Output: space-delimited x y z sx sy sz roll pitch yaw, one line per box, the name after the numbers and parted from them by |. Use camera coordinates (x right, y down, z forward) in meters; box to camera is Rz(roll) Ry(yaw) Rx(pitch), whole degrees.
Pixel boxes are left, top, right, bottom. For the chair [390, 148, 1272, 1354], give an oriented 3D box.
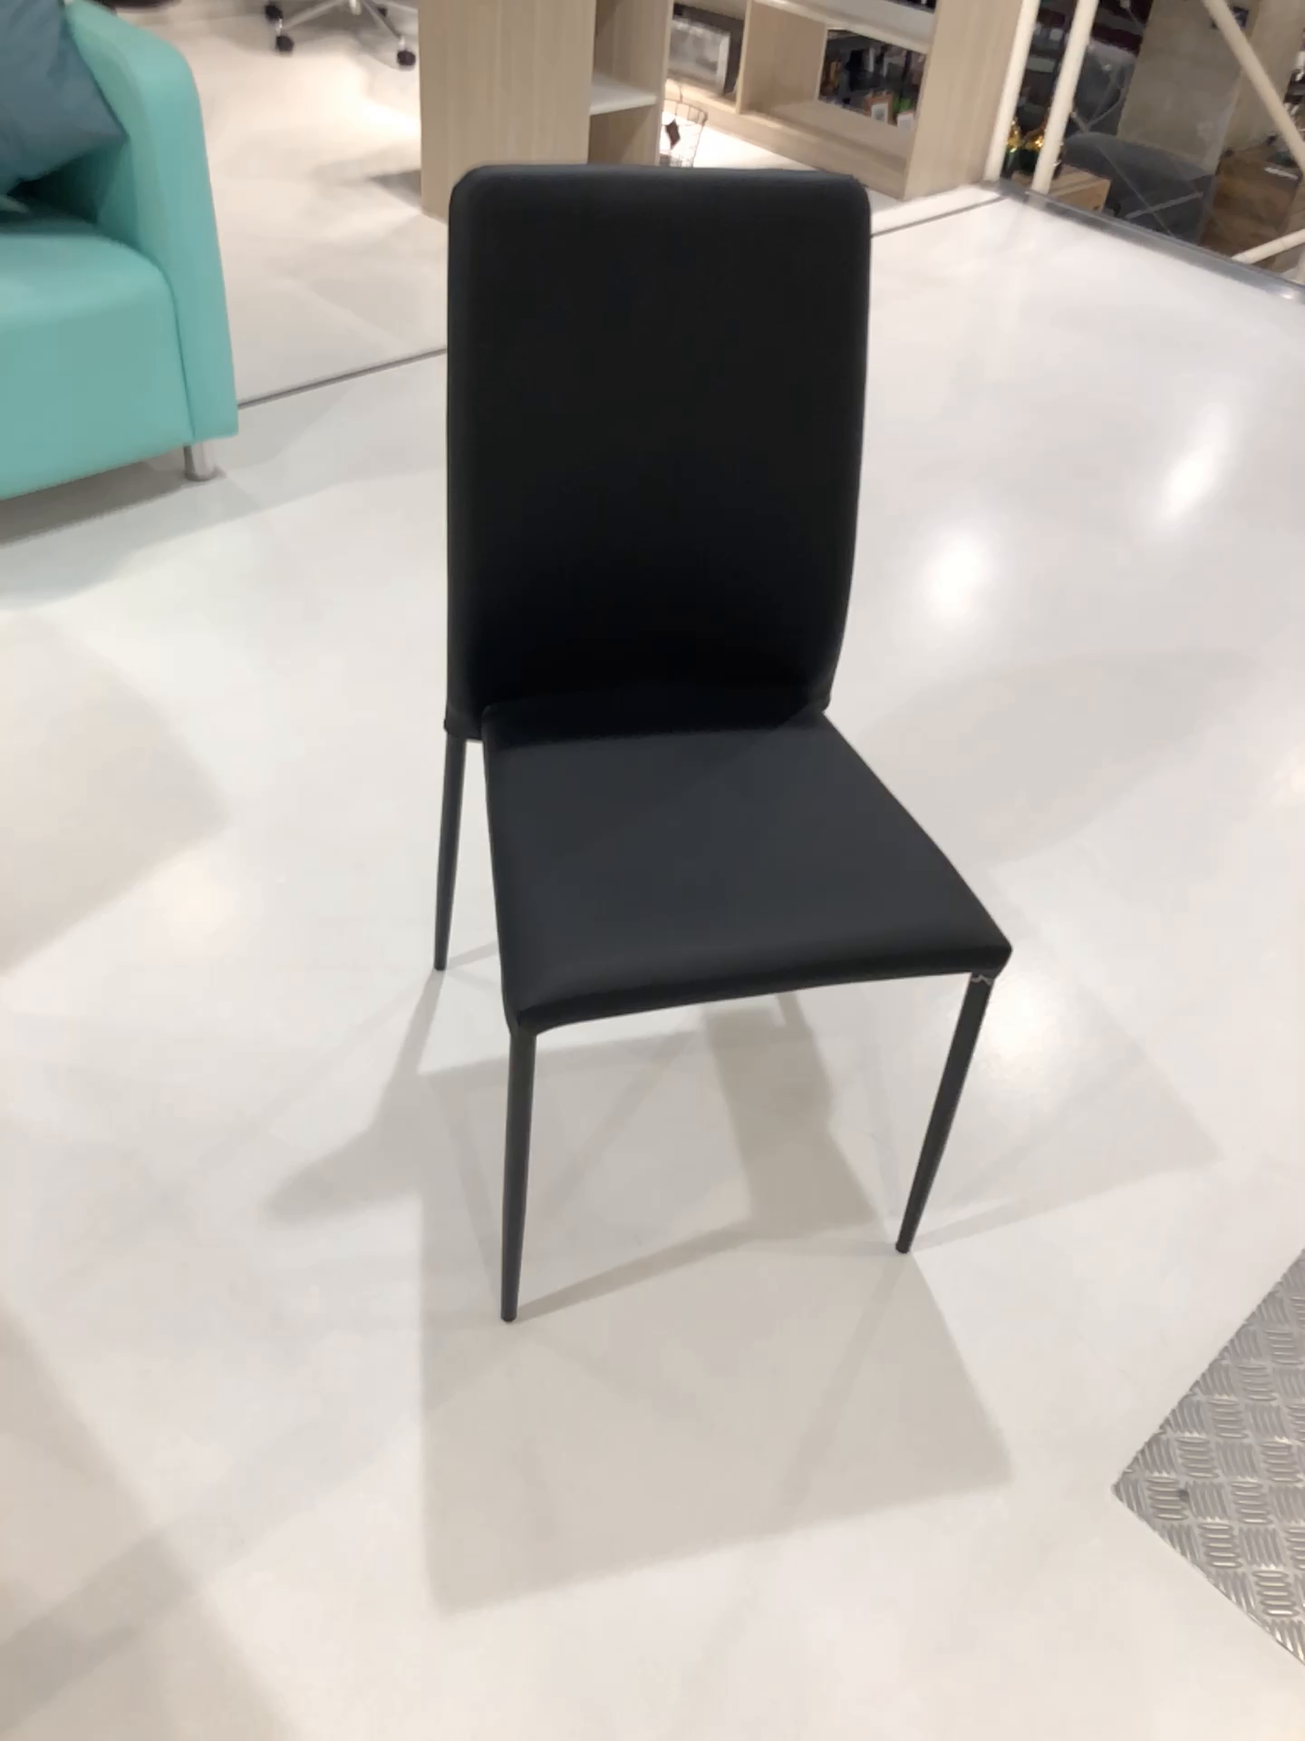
0.045 -0.099 1.305 0.451 0.864 0.603 -7 43 -14 | chair
